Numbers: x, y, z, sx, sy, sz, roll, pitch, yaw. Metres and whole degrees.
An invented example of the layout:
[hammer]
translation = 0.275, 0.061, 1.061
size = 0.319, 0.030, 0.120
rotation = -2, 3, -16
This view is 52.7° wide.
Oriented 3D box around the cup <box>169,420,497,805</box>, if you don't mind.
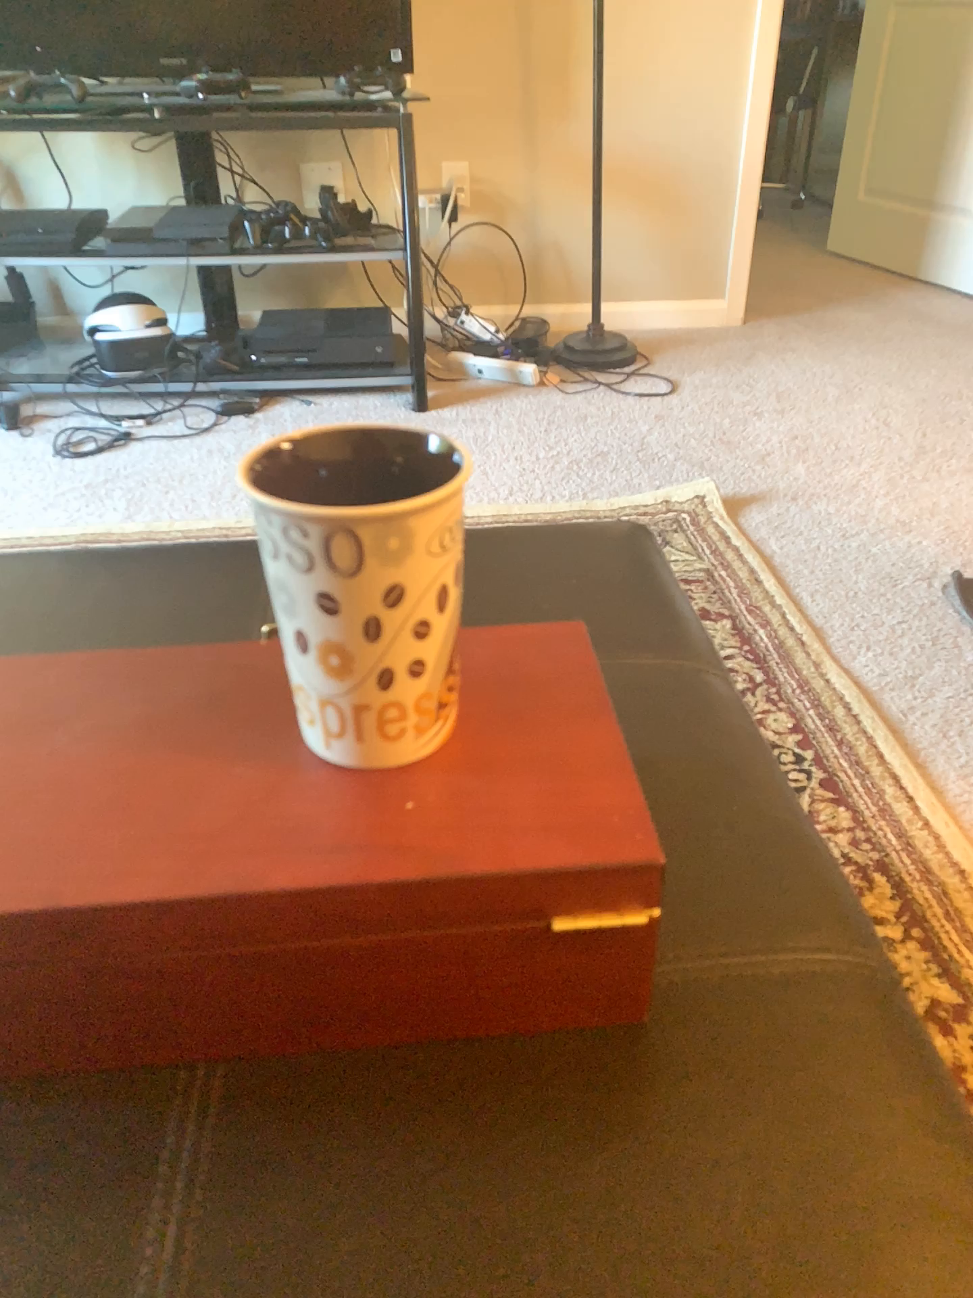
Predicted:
[cup]
translation = -0.052, -0.019, 0.398
size = 0.090, 0.109, 0.101
rotation = 8, 34, 14
